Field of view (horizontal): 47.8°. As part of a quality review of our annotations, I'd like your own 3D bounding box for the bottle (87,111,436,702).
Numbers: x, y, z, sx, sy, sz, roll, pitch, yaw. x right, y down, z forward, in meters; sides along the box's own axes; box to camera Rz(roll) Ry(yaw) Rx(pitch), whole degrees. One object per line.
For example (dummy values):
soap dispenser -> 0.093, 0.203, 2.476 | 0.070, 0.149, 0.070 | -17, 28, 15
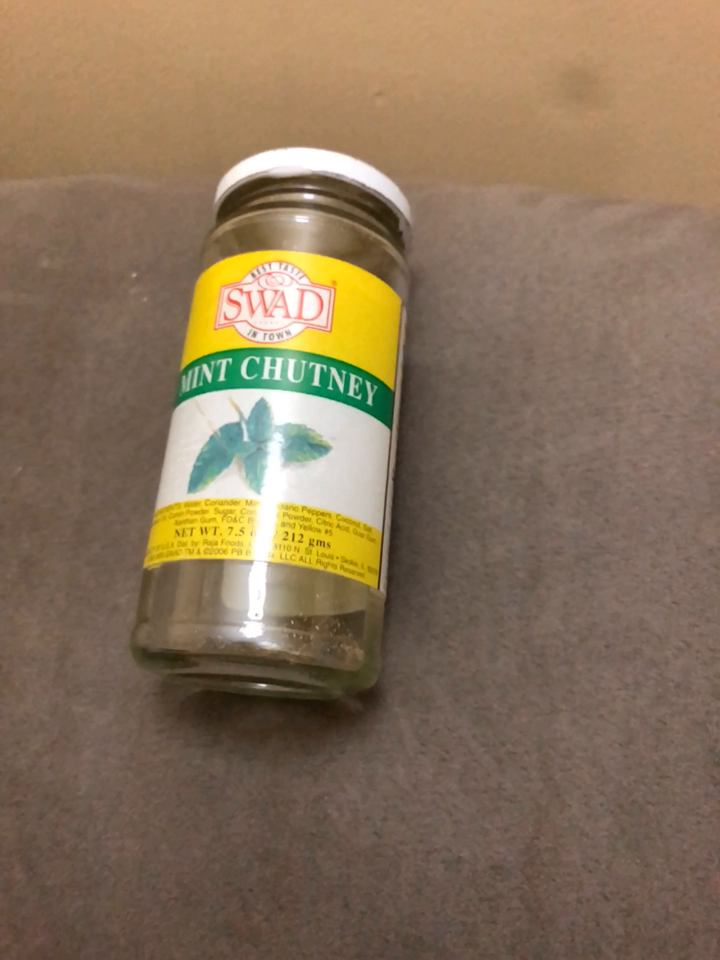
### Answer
bottle -> -0.016, -0.017, 0.206 | 0.057, 0.056, 0.133 | 0, 71, 14
